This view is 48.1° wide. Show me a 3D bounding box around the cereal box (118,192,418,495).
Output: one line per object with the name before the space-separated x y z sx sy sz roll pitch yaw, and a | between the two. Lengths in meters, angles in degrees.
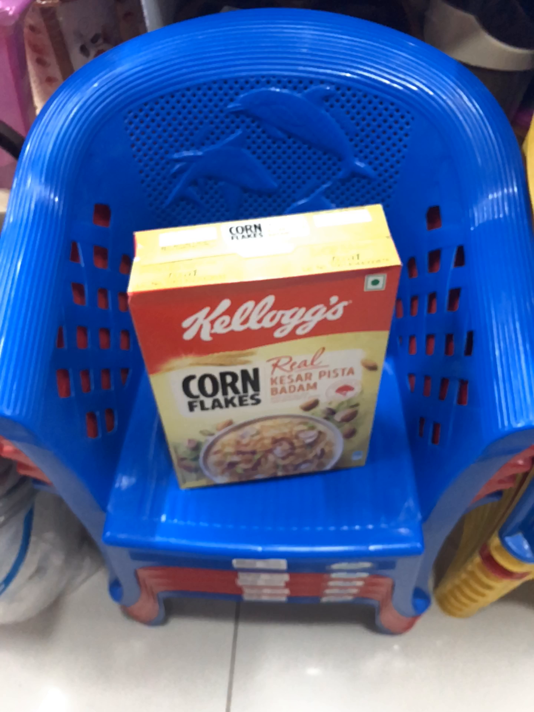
cereal box | 0.004 0.009 0.500 0.190 0.269 0.070 -7 49 -2
